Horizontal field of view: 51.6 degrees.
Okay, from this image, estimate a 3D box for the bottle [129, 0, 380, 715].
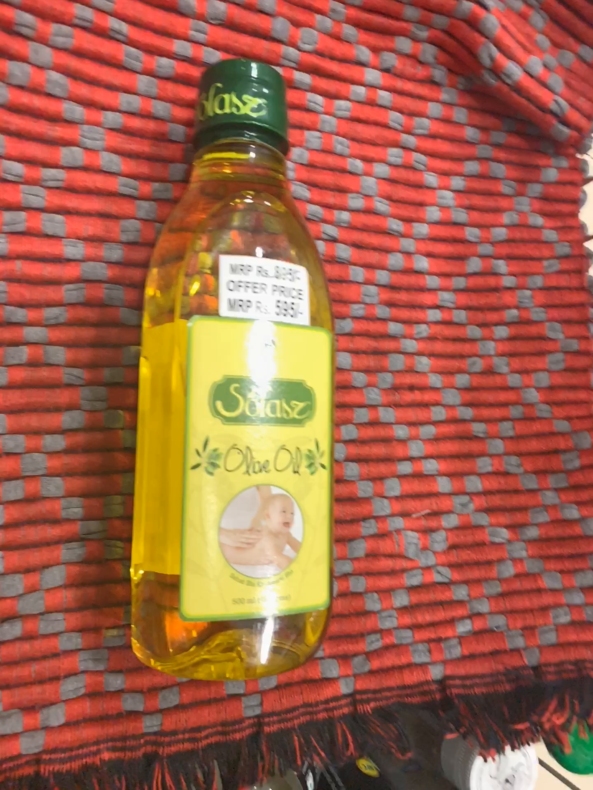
[{"bbox_3d":[-0.016,-0.017,0.221,0.070,0.060,0.220,3,83,-21],"label":"bottle"}]
